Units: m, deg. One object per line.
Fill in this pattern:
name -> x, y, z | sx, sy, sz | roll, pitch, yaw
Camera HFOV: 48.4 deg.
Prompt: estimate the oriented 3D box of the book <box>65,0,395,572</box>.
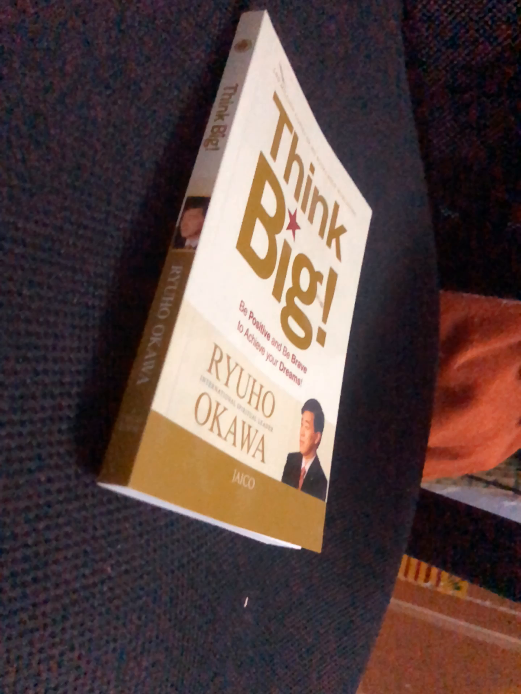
book -> 0.011, -0.017, 0.235 | 0.138, 0.026, 0.190 | 43, 55, -53
